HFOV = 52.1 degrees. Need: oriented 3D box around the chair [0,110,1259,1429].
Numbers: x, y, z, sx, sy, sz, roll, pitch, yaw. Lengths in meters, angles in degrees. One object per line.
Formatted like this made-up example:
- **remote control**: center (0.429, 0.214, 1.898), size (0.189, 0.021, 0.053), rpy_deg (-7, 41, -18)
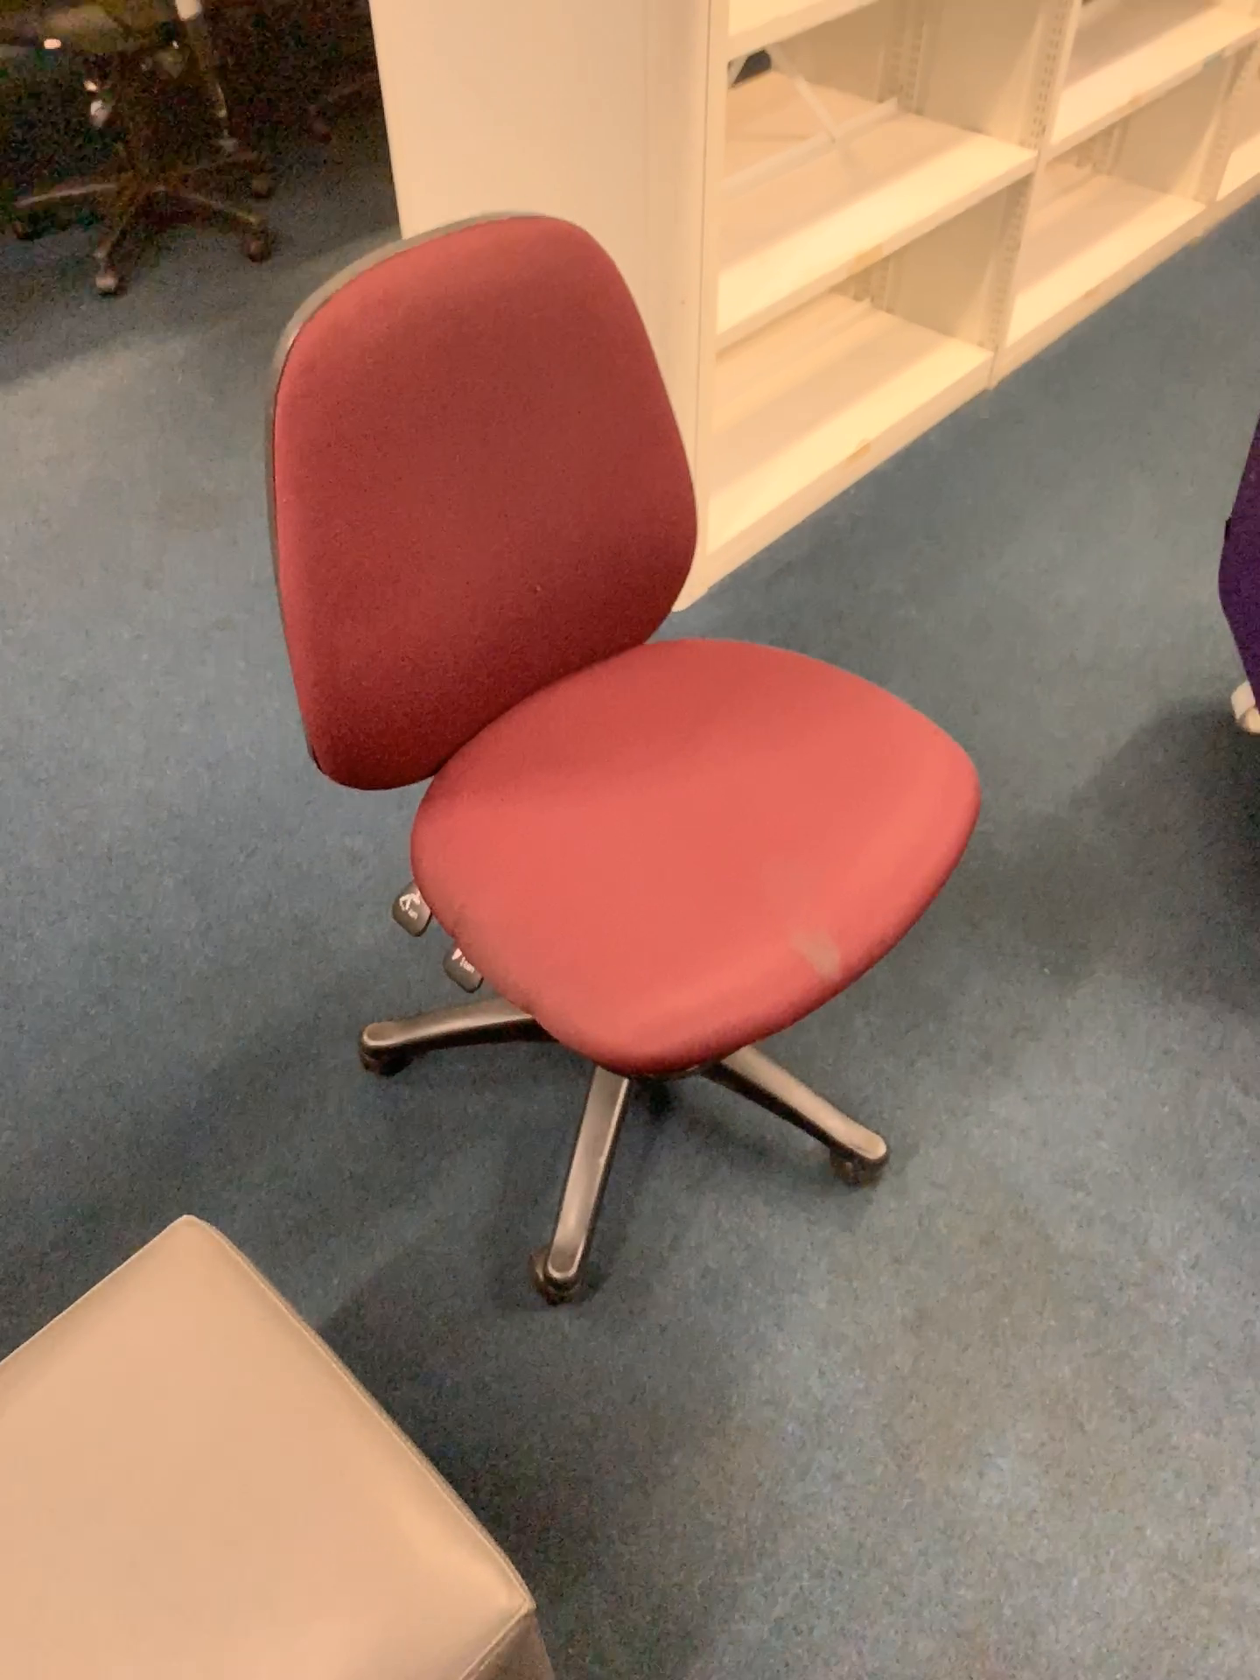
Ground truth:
- **chair**: center (0.009, -0.077, 1.204), size (0.653, 0.783, 0.693), rpy_deg (-34, 57, -26)
